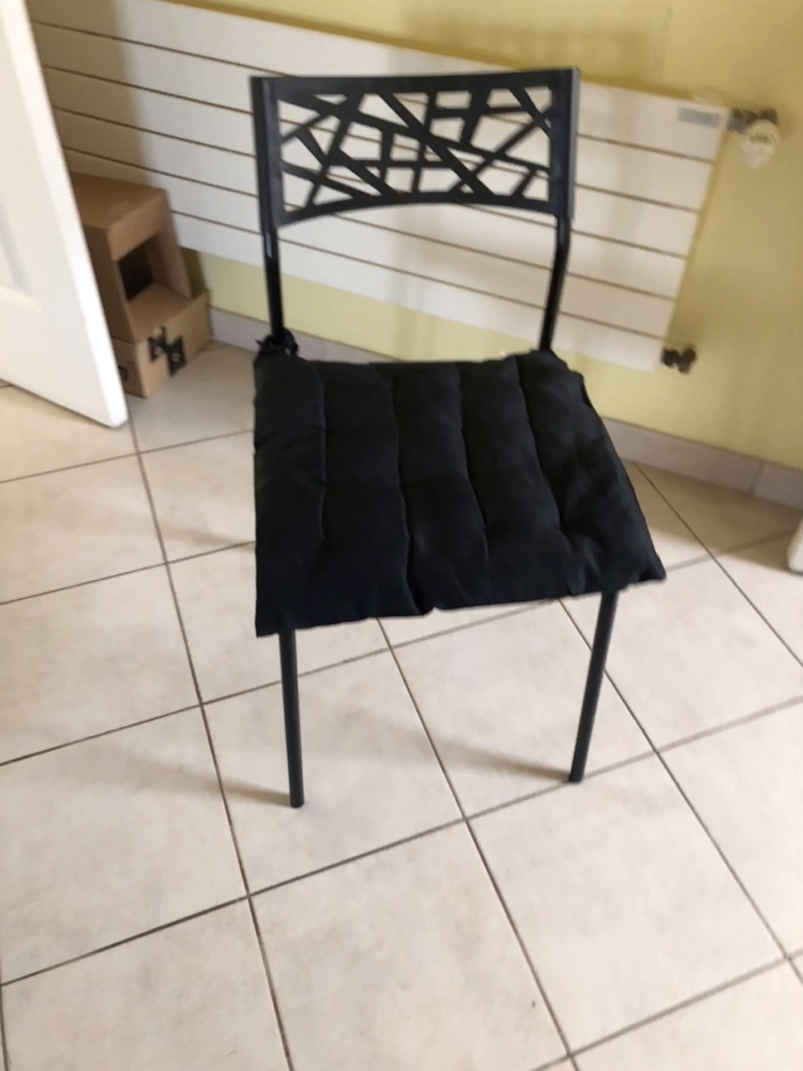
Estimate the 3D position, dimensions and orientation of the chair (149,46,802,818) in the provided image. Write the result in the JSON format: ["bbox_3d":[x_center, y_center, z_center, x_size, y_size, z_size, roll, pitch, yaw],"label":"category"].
[{"bbox_3d":[0.047,-0.100,1.070,0.520,0.736,0.523,-4,47,-6],"label":"chair"}]
